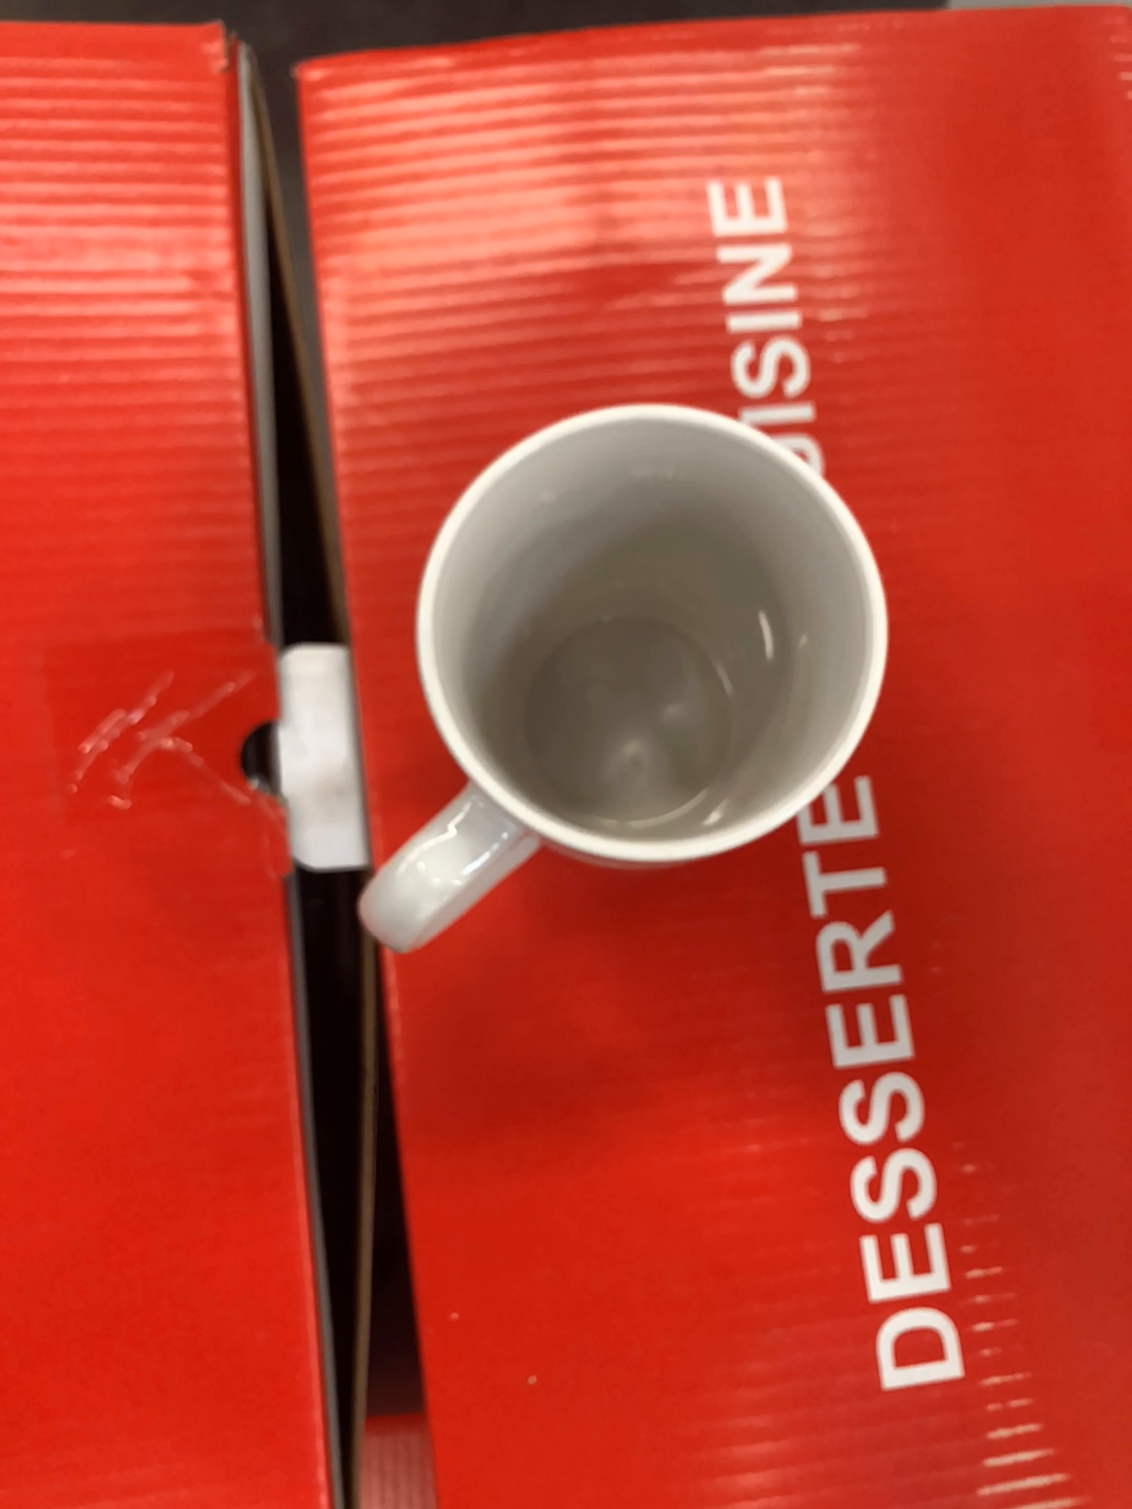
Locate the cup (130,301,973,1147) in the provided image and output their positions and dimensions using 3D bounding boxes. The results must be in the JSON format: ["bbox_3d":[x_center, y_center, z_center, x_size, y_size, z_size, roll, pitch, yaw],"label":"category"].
[{"bbox_3d":[-0.003,-0.003,0.273,0.092,0.092,0.123,41,81,3],"label":"cup"}]
